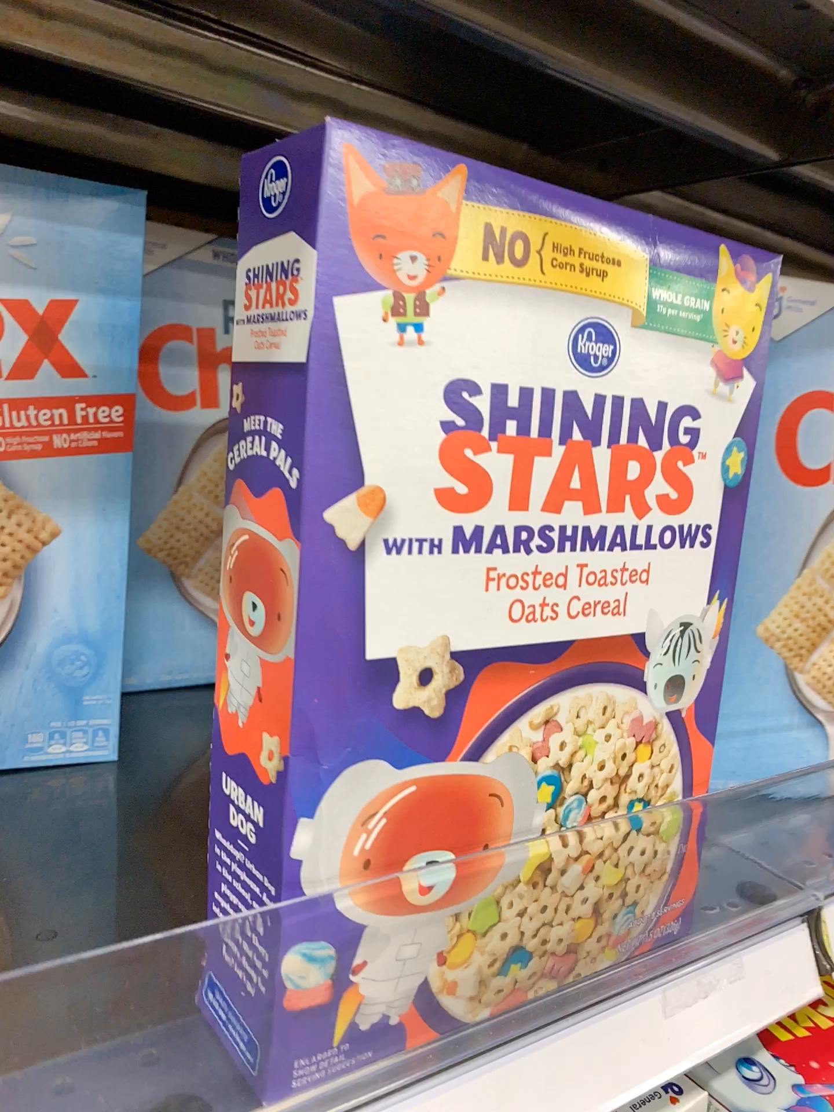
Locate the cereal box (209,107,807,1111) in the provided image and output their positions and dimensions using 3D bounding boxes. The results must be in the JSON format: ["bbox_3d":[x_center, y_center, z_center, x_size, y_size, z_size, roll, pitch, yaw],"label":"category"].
[{"bbox_3d":[0.038,0.020,0.302,0.200,0.269,0.050,-2,11,-36],"label":"cereal box"}]
